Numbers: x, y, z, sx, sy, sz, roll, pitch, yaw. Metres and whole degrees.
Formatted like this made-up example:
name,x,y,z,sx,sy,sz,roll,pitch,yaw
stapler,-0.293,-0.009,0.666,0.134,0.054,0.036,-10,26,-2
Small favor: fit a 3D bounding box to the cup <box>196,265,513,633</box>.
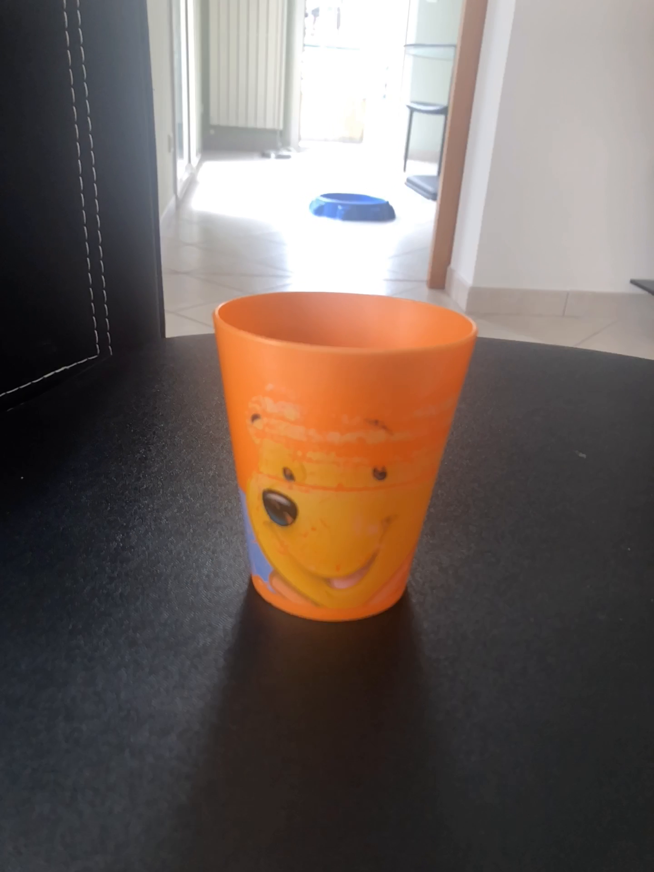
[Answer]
name,x,y,z,sx,sy,sz,roll,pitch,yaw
cup,0.000,-0.001,0.233,0.080,0.090,0.080,3,24,-1
